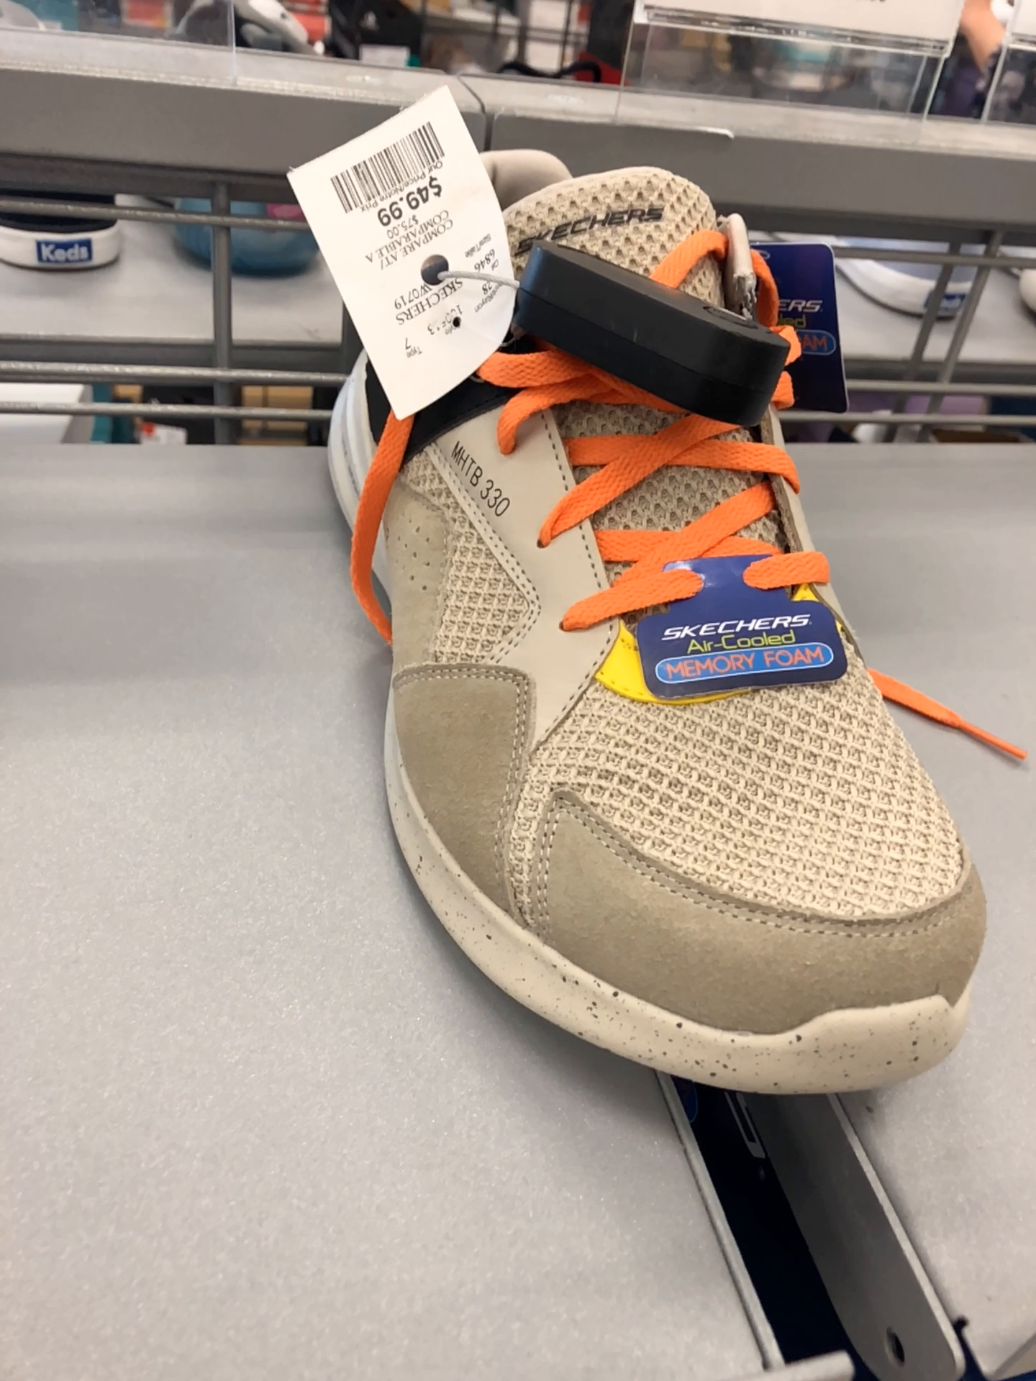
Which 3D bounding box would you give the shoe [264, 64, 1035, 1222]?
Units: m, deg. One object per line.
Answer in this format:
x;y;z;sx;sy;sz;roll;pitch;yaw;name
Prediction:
0.024;-0.048;0.280;0.125;0.109;0.282;-5;43;-19;shoe
